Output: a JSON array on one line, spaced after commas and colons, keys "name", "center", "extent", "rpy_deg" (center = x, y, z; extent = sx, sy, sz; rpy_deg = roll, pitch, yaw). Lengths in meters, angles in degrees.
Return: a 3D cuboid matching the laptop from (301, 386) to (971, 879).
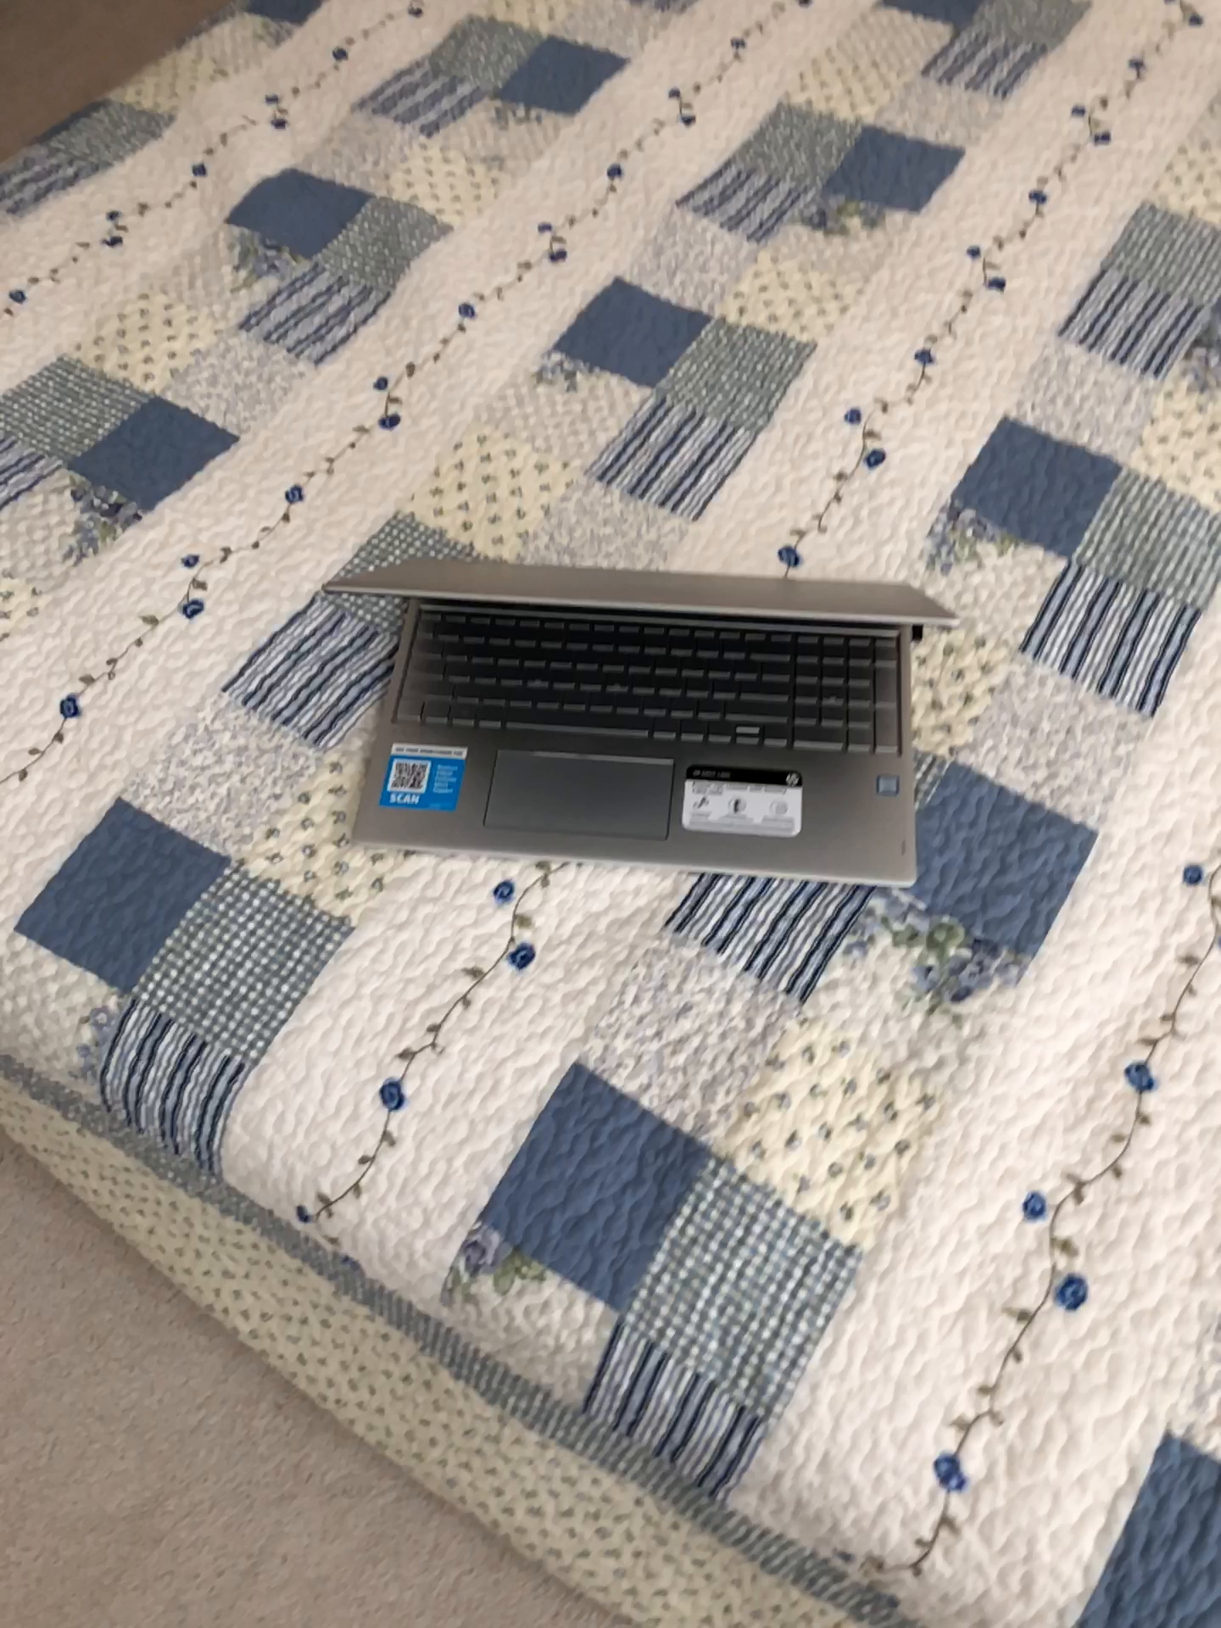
[{"name": "laptop", "center": [0.023, -0.115, 0.829], "extent": [0.348, 0.158, 0.242], "rpy_deg": [4, 56, 5]}]
